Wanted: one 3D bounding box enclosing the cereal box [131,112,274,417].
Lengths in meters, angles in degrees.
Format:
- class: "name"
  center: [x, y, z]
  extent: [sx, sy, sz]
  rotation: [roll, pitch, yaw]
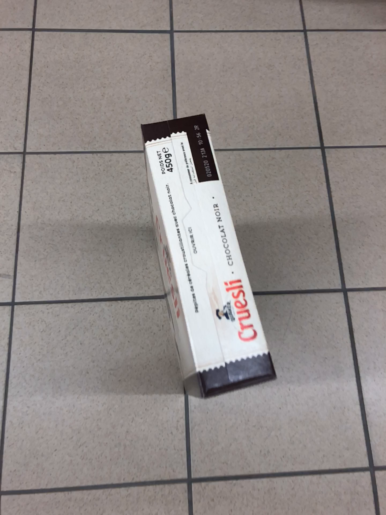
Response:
- class: "cereal box"
  center: [-0.004, 0.028, 0.390]
  extent: [0.050, 0.240, 0.200]
  rotation: [-11, 74, -7]
